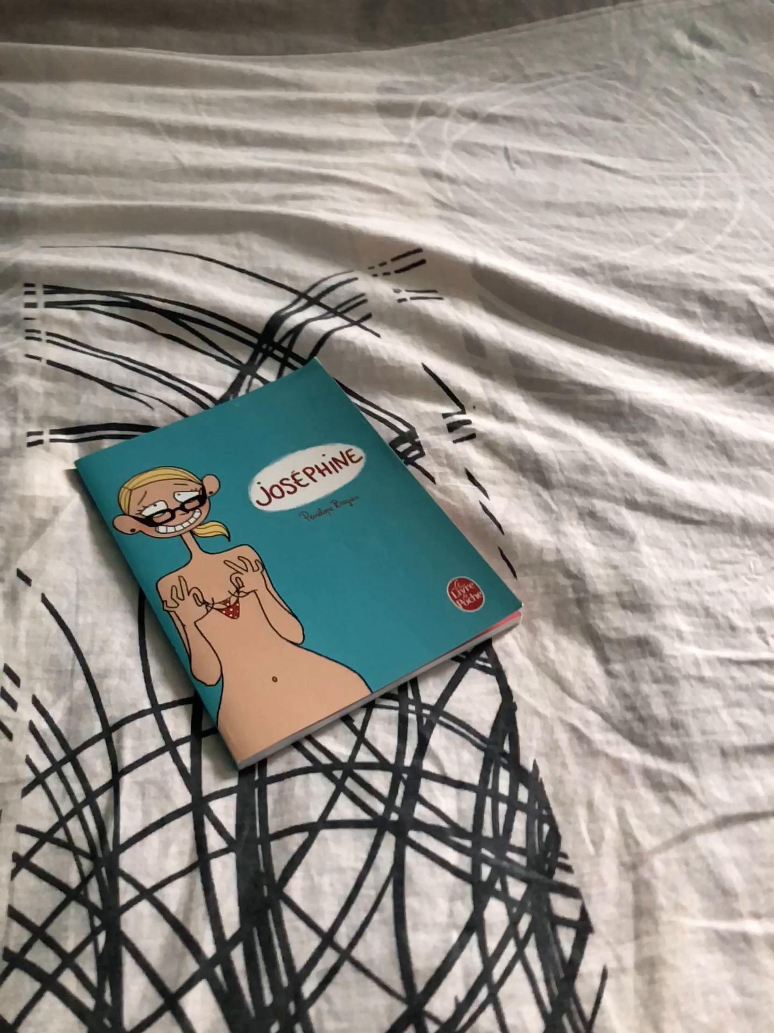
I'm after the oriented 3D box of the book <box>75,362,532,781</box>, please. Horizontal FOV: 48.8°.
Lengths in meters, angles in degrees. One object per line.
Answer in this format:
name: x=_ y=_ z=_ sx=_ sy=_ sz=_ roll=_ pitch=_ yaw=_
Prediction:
book: x=-0.047 y=0.009 z=0.408 sx=0.145 sy=0.014 sz=0.187 roll=-26 pitch=55 yaw=-19
